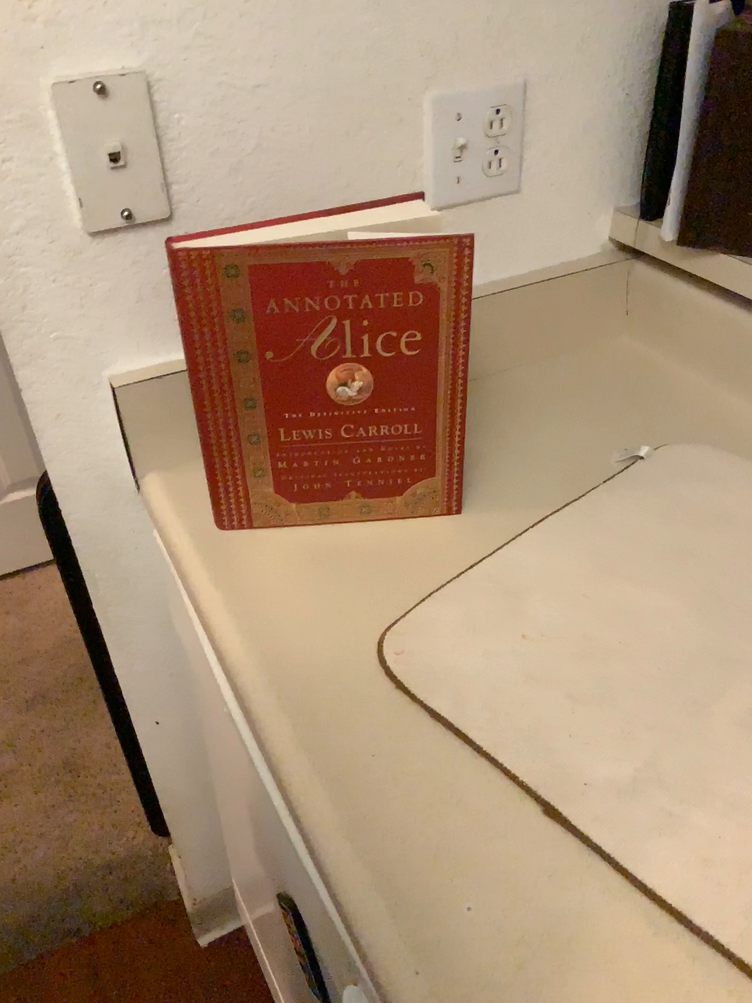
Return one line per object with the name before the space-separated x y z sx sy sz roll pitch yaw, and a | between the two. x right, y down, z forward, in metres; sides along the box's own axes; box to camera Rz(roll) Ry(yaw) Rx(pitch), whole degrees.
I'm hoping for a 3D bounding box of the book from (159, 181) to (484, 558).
book | -0.043 -0.113 0.724 0.230 0.260 0.150 -7 37 -6
